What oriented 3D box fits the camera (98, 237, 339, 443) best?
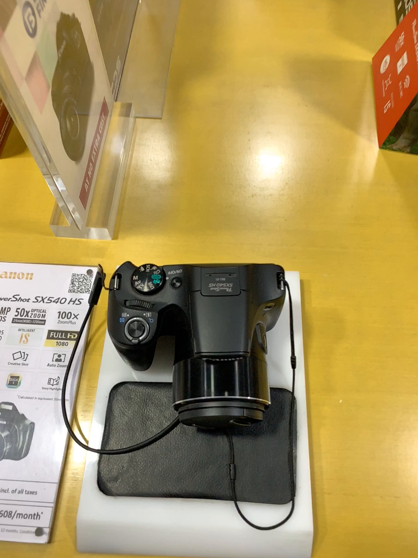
[{"bbox_3d":[0.005,0.040,0.268,0.120,0.070,0.110,1,64,1],"label":"camera"}]
